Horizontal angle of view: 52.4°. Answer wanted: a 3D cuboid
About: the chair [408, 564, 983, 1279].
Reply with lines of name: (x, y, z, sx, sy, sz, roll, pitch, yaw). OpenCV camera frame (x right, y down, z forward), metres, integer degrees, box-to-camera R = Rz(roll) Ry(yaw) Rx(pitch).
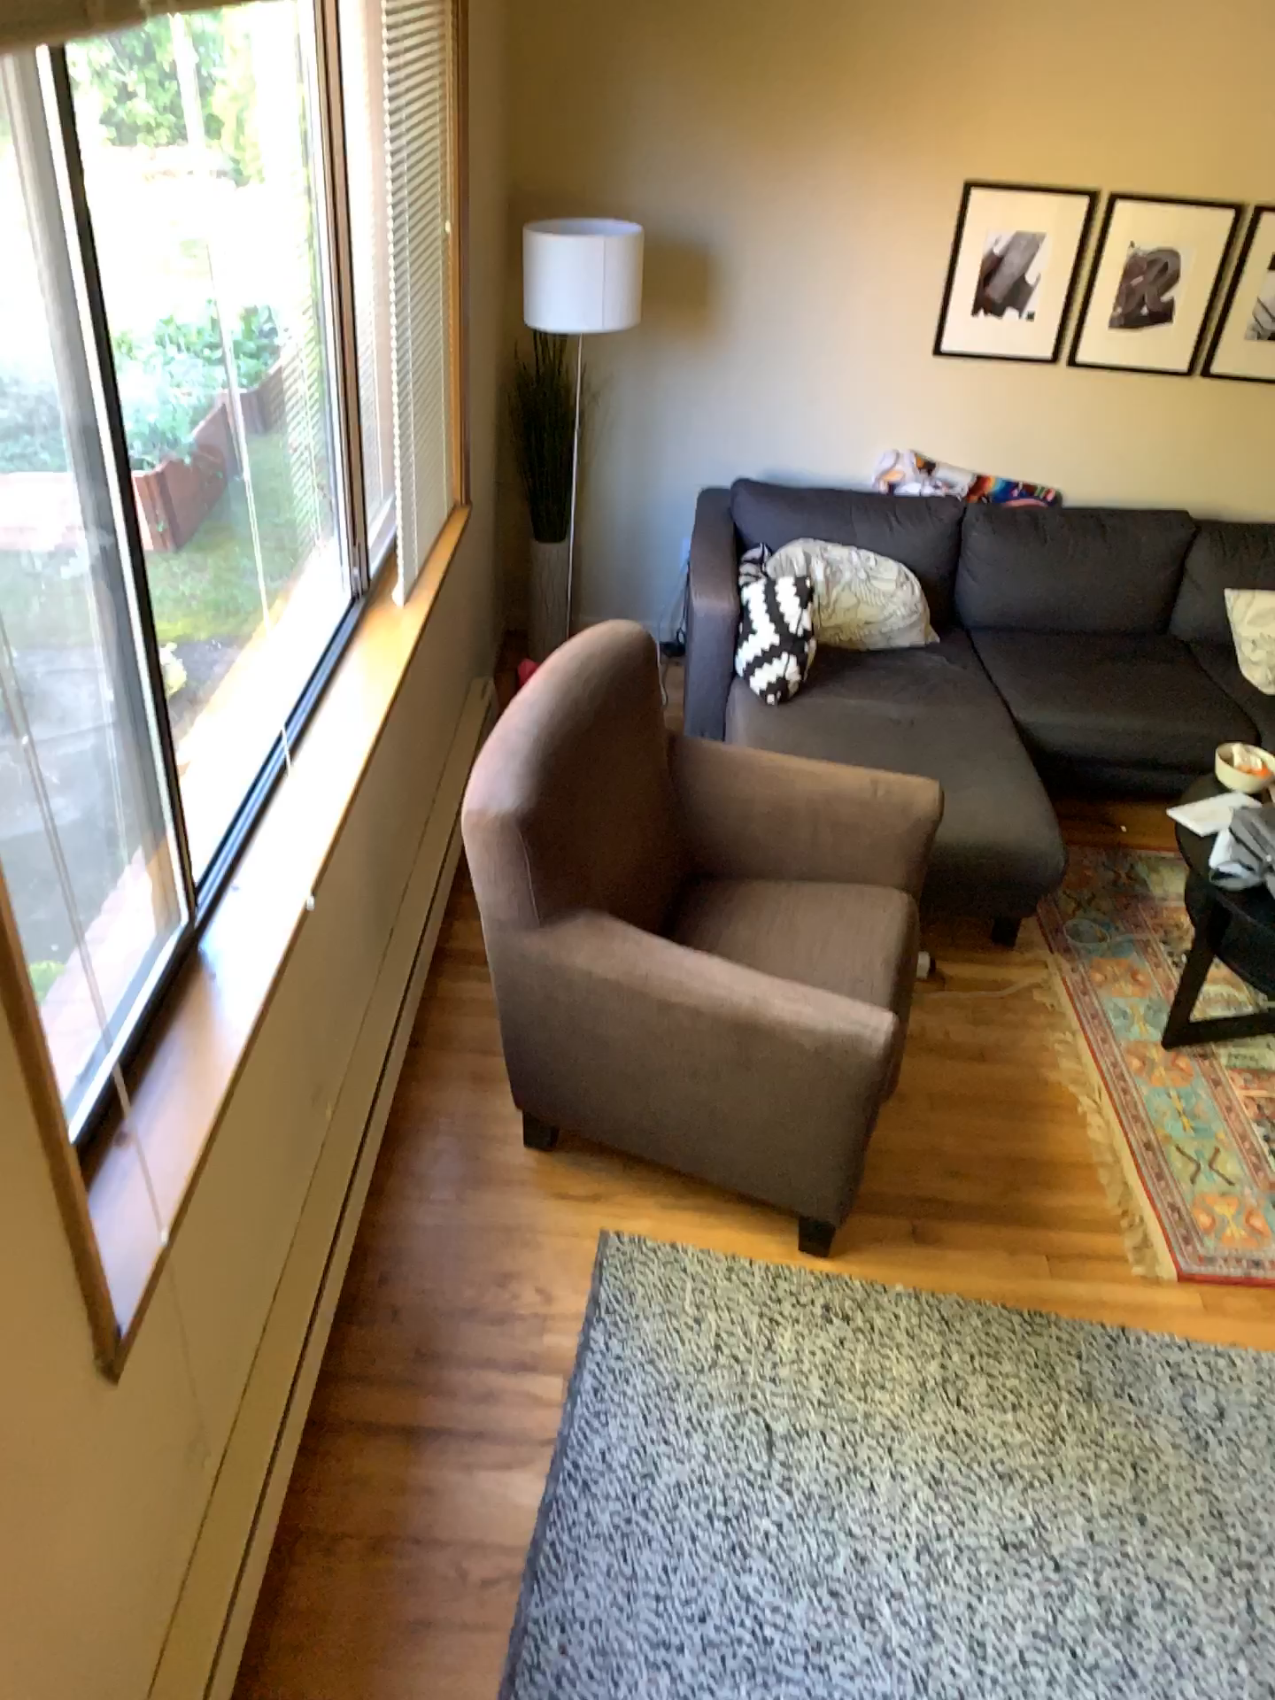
chair: (0.149, 0.080, 2.455, 0.801, 0.875, 0.885, 10, 35, 12)
